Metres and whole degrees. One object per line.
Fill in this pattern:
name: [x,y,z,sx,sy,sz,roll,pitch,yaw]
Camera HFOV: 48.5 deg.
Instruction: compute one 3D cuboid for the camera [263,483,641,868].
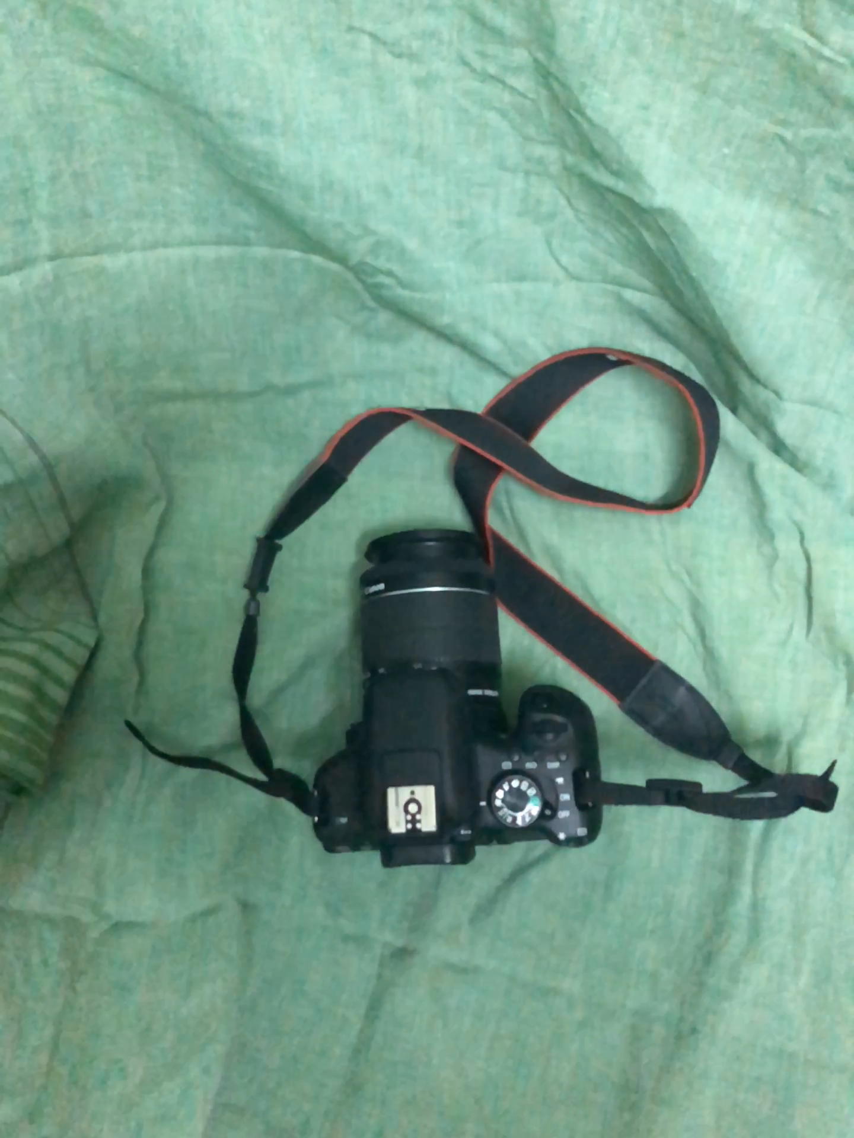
camera: [0.012,0.051,0.431,0.142,0.100,0.144,-5,79,5]
